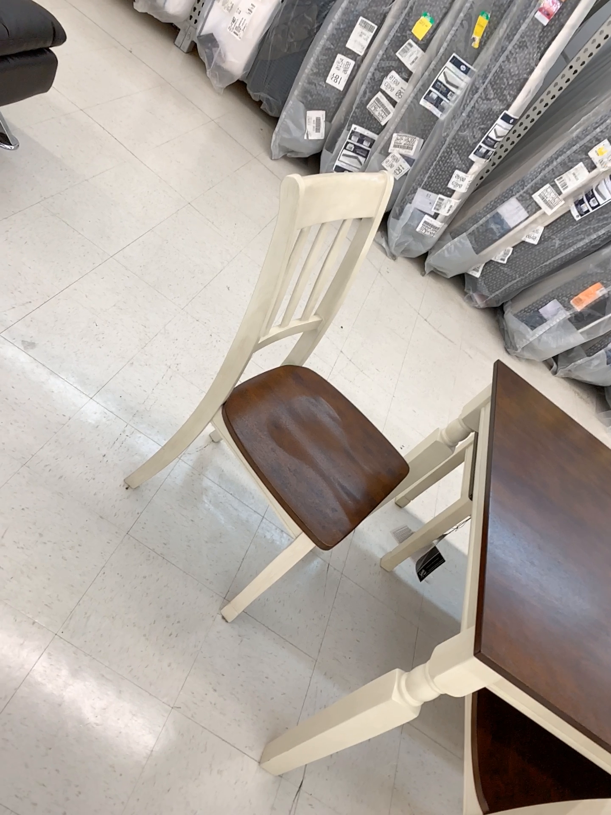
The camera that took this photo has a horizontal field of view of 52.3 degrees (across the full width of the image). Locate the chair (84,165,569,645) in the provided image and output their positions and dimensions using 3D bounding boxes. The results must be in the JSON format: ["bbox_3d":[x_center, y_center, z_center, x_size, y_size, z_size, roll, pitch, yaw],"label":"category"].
[{"bbox_3d":[0.016,0.003,1.491,0.594,0.902,0.527,48,37,7],"label":"chair"}]

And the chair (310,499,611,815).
[{"bbox_3d":[0.530,0.749,1.225,0.464,0.932,0.607,37,37,-8],"label":"chair"}]
